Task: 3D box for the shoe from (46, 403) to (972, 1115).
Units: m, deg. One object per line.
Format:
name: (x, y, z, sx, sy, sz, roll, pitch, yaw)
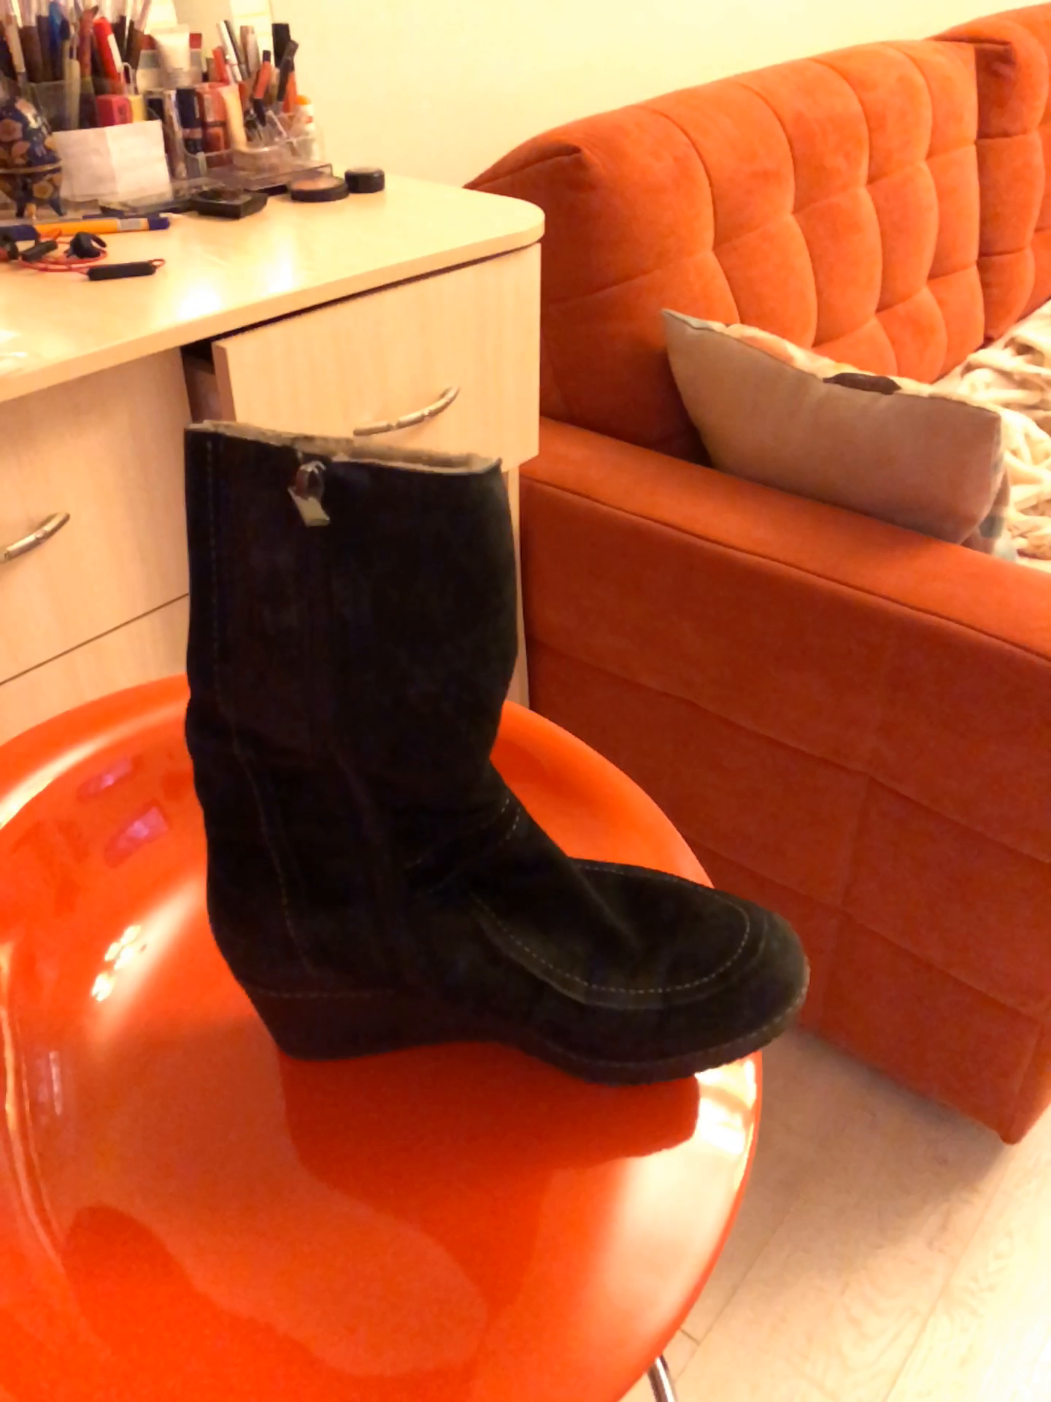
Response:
shoe: (-0.003, 0.029, 0.434, 0.260, 0.248, 0.101, 2, 35, 4)
